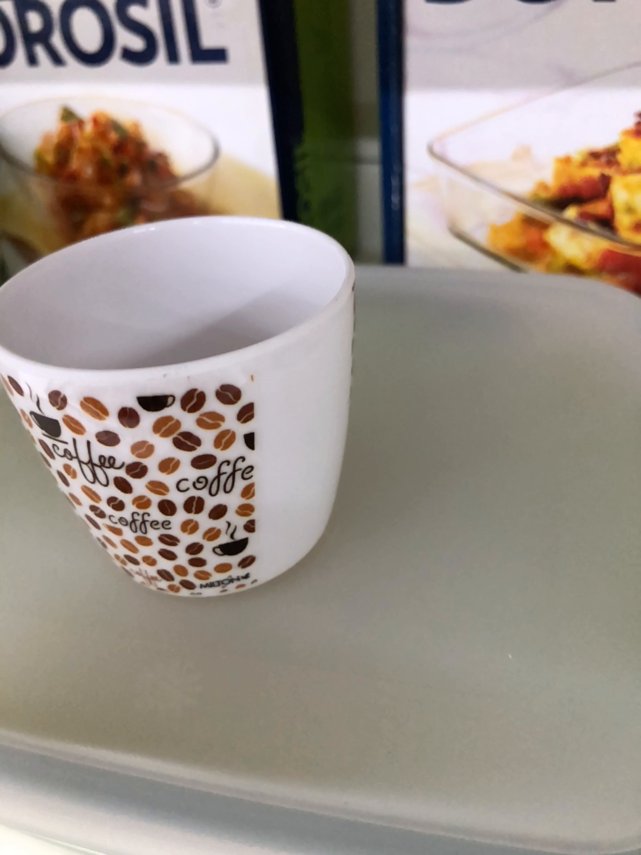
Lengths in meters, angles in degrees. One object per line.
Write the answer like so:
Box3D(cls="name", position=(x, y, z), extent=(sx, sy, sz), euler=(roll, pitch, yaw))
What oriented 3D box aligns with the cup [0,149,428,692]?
Box3D(cls="cup", position=(-0.032, -0.011, 0.128), extent=(0.080, 0.050, 0.060), euler=(21, 42, 31))
